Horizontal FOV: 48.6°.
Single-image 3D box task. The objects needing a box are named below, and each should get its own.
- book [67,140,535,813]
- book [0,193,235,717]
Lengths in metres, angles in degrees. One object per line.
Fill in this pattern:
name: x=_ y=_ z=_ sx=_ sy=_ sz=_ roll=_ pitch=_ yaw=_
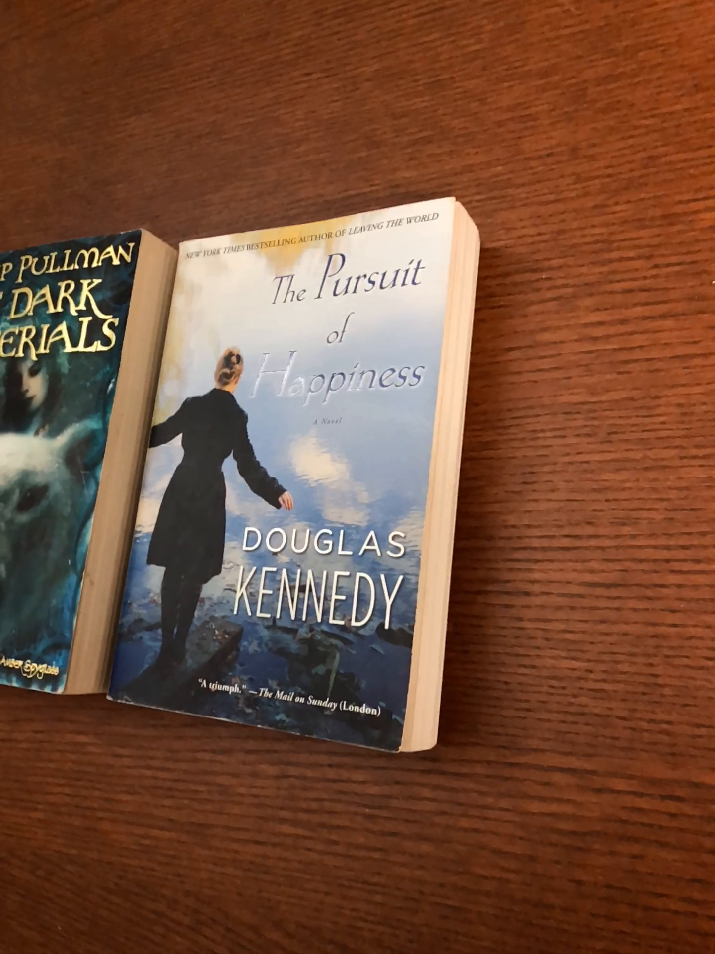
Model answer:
book: x=-0.025 y=-0.007 z=0.346 sx=0.180 sy=0.040 sz=0.250 roll=0 pitch=77 yaw=27
book: x=-0.172 y=-0.014 z=0.429 sx=0.180 sy=0.050 sz=0.250 roll=0 pitch=77 yaw=27
